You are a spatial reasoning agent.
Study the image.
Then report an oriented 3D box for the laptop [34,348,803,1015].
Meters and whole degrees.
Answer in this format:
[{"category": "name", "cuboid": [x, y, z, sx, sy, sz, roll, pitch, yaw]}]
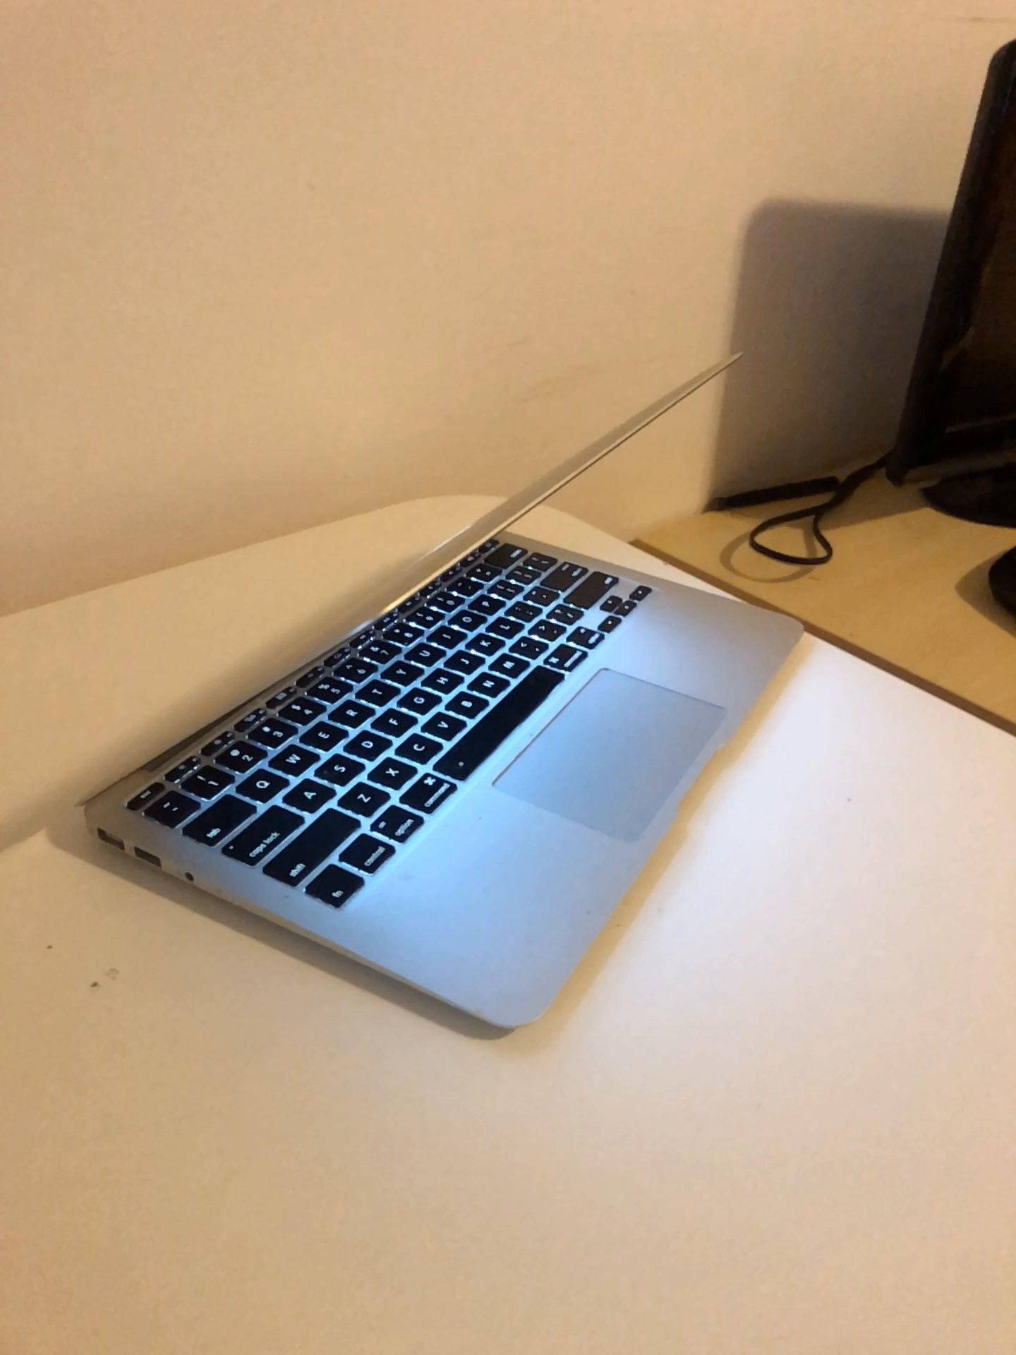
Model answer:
[{"category": "laptop", "cuboid": [-0.009, -0.035, 0.453, 0.181, 0.108, 0.287, 17, 32, 21]}]
